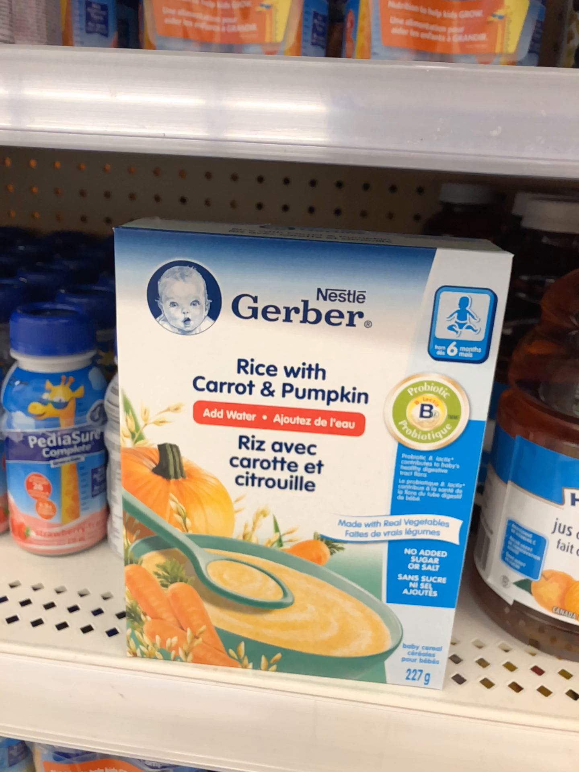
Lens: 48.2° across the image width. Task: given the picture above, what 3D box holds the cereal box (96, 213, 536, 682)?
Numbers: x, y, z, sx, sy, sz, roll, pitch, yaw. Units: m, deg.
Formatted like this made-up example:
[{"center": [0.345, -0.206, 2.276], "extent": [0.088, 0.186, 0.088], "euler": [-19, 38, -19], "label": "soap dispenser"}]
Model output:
[{"center": [0.004, 0.027, 0.273], "extent": [0.150, 0.179, 0.050], "euler": [5, 19, 2], "label": "cereal box"}]
